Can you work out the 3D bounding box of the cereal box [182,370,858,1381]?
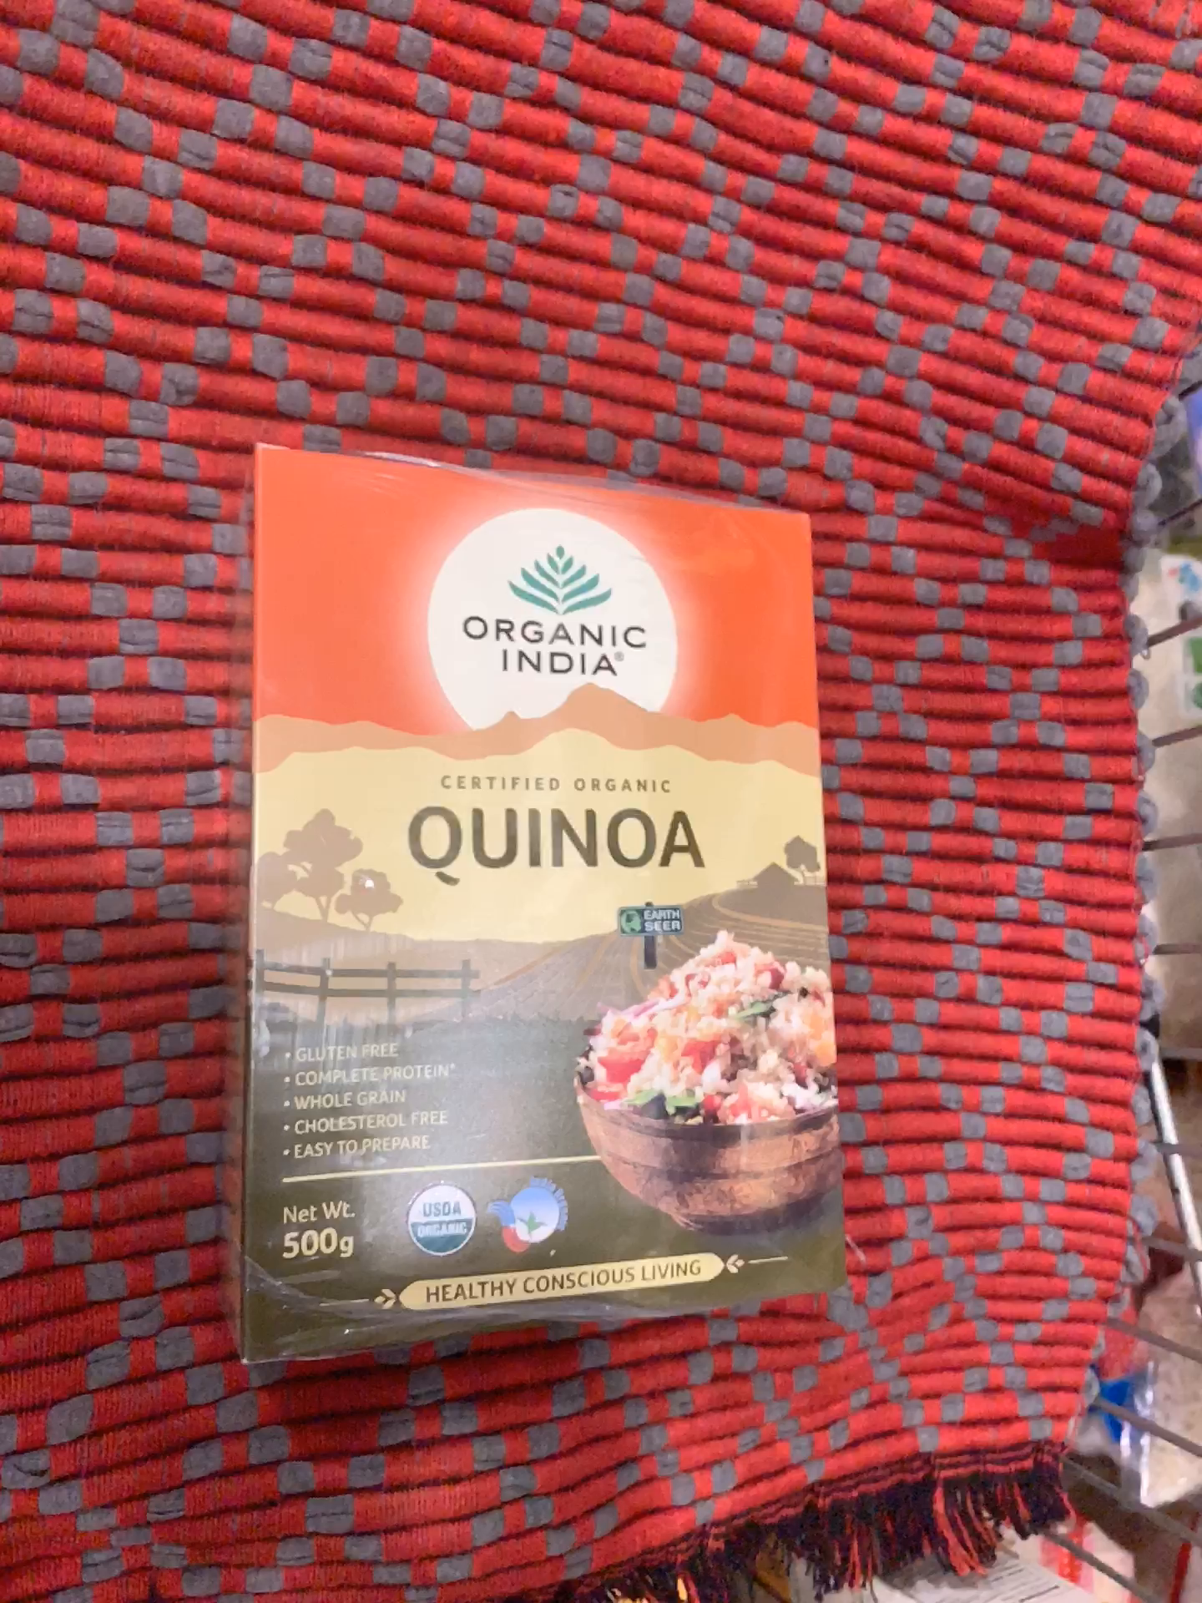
[{"bbox_3d":[-0.020,0.015,0.279,0.130,0.070,0.180,2,83,-21],"label":"cereal box"}]
